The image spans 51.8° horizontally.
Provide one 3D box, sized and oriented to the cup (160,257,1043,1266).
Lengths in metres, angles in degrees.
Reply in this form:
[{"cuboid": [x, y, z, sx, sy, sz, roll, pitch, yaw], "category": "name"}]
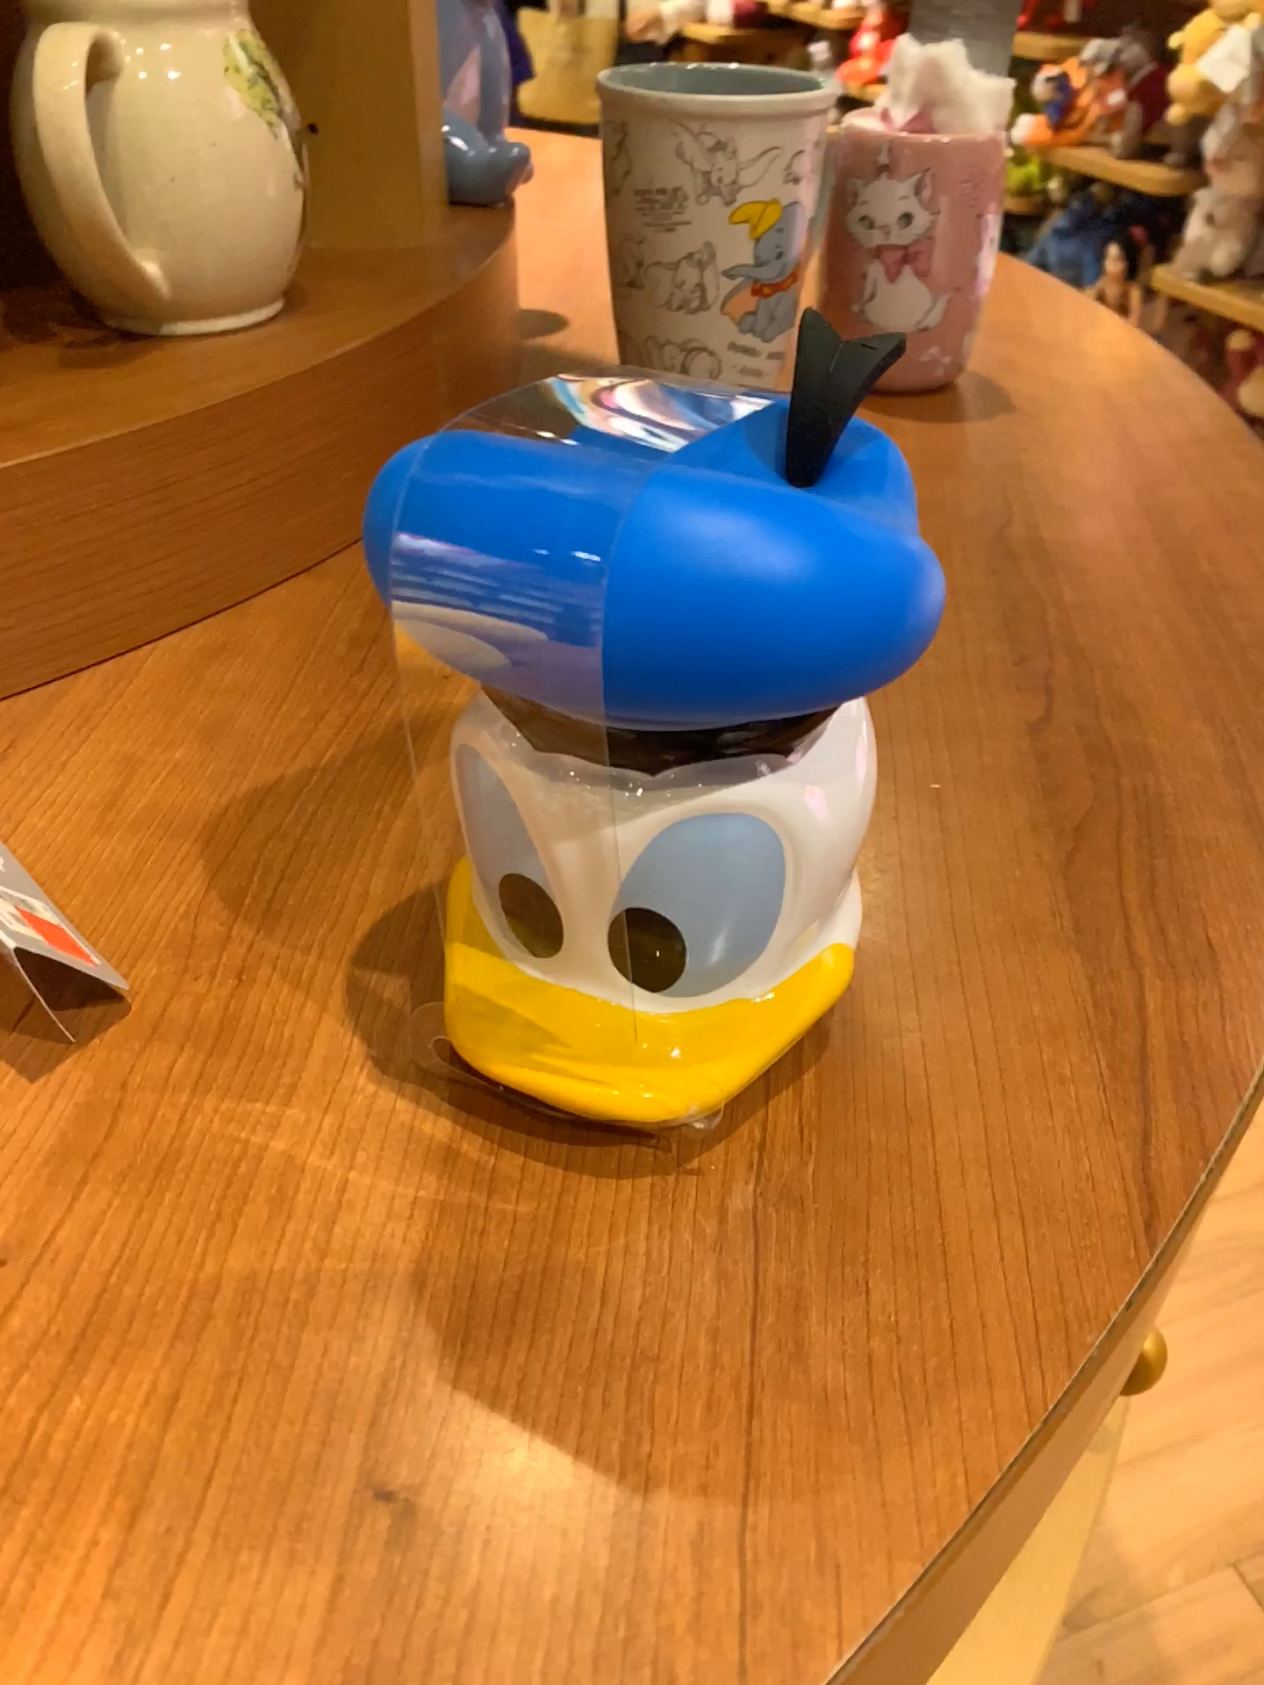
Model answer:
[{"cuboid": [0.007, -0.027, 0.278, 0.105, 0.132, 0.151, 16, 44, 18], "category": "cup"}]
